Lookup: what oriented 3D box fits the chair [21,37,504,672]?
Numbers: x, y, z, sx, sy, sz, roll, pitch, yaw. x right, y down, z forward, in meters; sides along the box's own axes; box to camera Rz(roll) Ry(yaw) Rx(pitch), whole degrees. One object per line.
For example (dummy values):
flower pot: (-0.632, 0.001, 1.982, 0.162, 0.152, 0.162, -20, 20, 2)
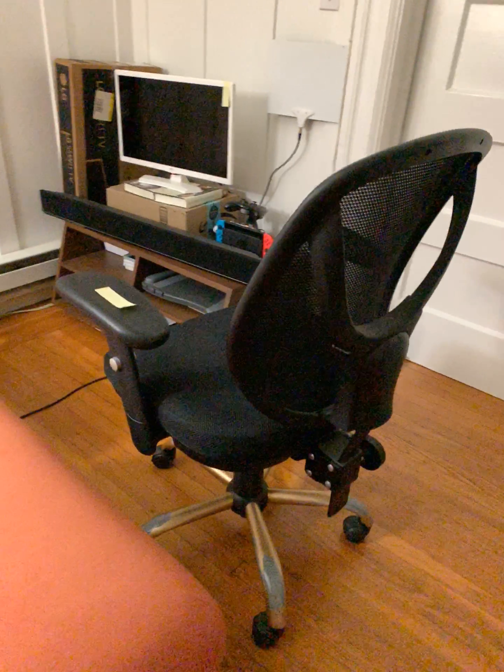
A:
chair: (0.048, 0.022, 1.032, 0.641, 0.974, 0.663, -20, 42, -36)
